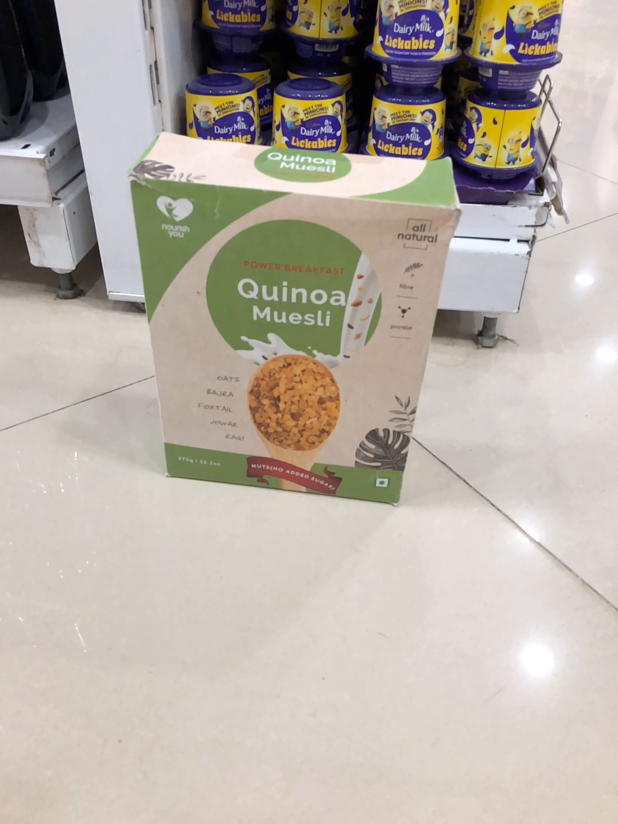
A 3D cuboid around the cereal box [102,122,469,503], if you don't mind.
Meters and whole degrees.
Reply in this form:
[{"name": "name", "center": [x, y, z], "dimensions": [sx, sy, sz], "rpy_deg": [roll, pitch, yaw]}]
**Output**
[{"name": "cereal box", "center": [-0.012, -0.046, 0.376], "dimensions": [0.160, 0.189, 0.060], "rpy_deg": [6, 39, 4]}]
